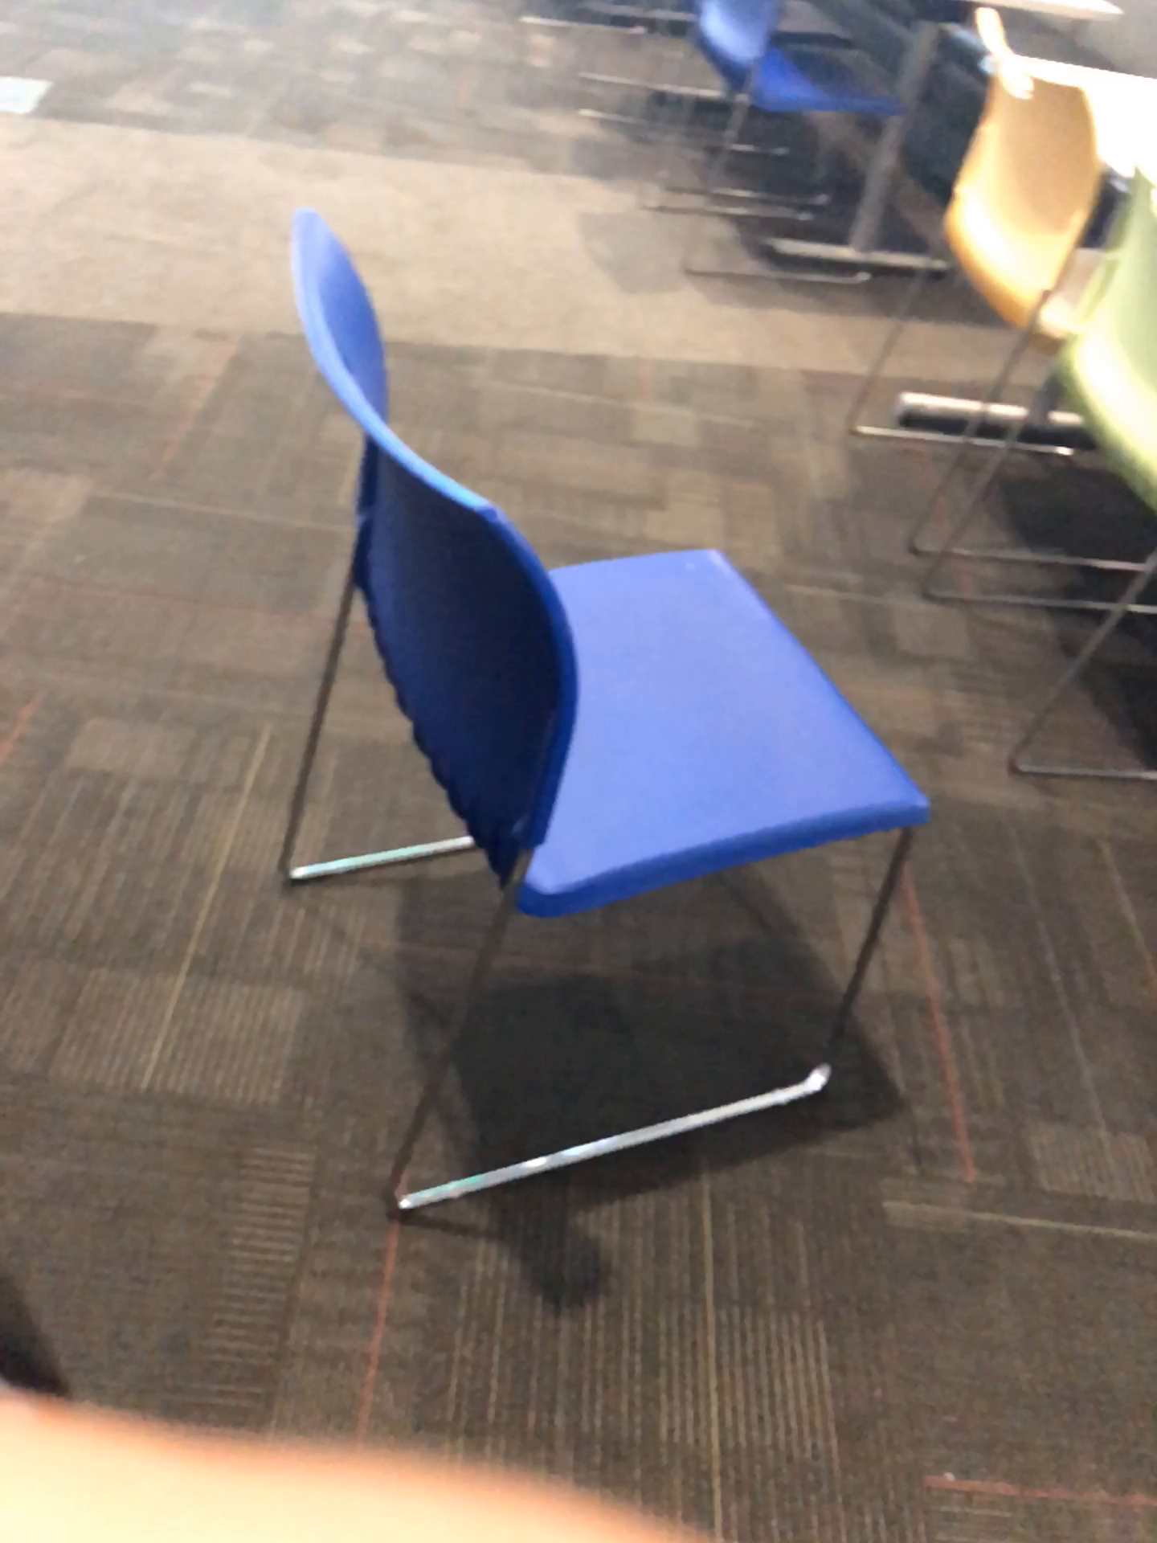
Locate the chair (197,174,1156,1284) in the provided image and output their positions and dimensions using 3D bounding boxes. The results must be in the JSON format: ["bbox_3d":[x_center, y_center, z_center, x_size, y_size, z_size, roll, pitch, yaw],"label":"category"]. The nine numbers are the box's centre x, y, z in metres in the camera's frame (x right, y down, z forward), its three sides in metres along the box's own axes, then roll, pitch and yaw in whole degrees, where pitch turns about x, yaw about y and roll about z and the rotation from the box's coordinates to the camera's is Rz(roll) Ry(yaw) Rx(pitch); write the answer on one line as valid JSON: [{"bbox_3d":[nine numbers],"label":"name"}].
[{"bbox_3d":[0.011,-0.056,1.212,0.590,0.756,0.582,-9,44,-22],"label":"chair"}]
